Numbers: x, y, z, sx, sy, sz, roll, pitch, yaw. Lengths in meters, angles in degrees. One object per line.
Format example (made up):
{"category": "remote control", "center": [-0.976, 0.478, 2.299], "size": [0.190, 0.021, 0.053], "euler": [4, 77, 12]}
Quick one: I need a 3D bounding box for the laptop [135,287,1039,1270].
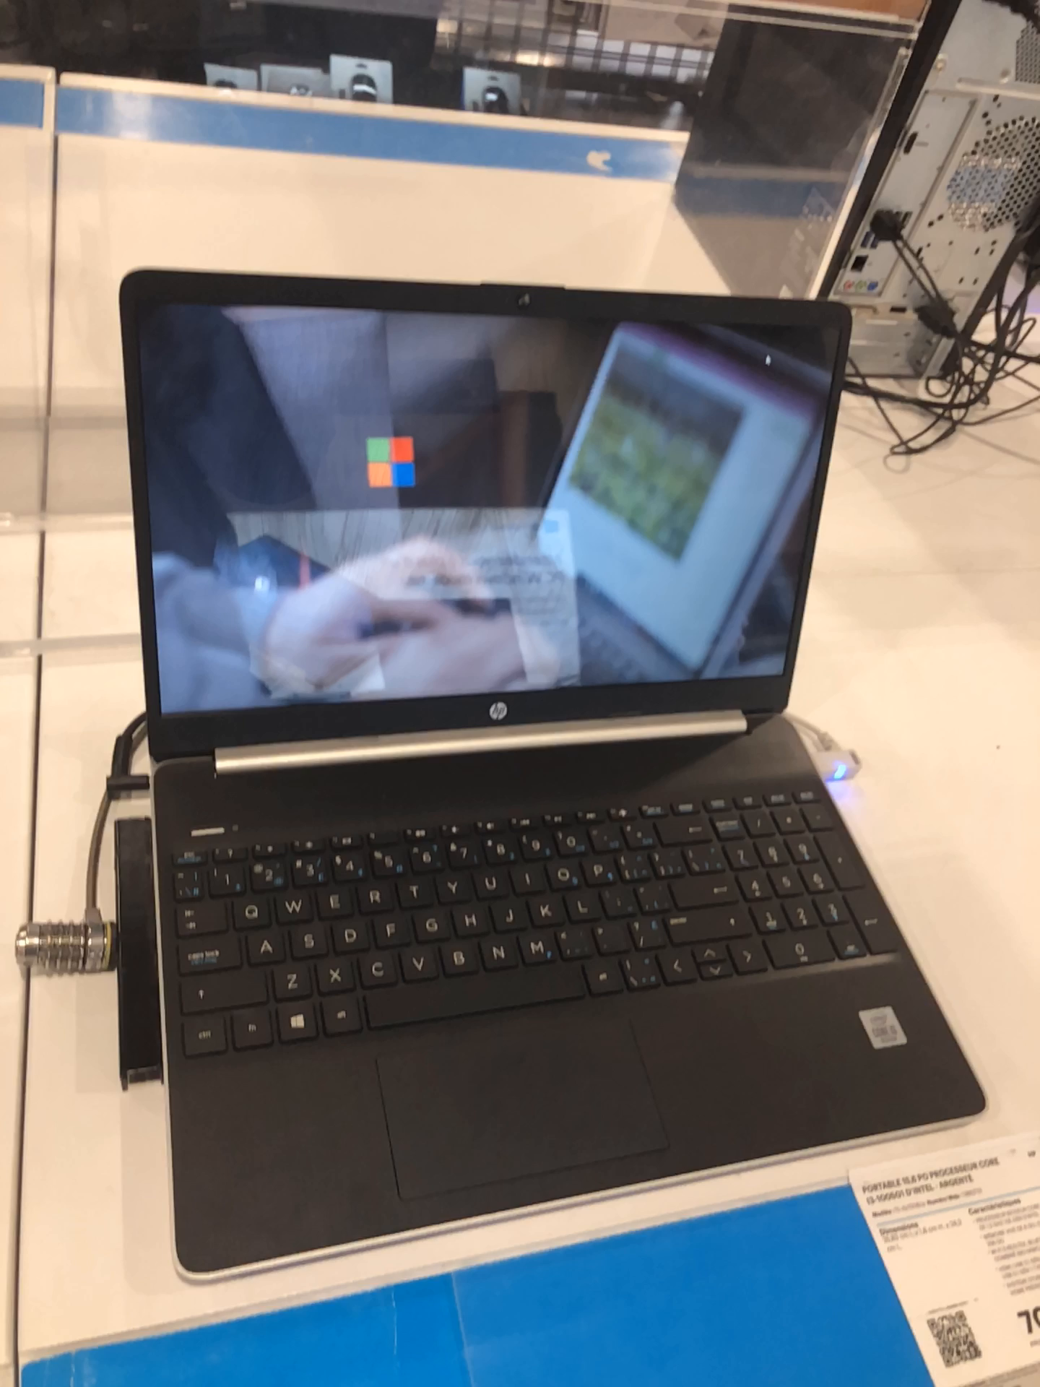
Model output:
{"category": "laptop", "center": [0.023, 0.006, 0.501], "size": [0.346, 0.196, 0.335], "euler": [-4, 49, -18]}
